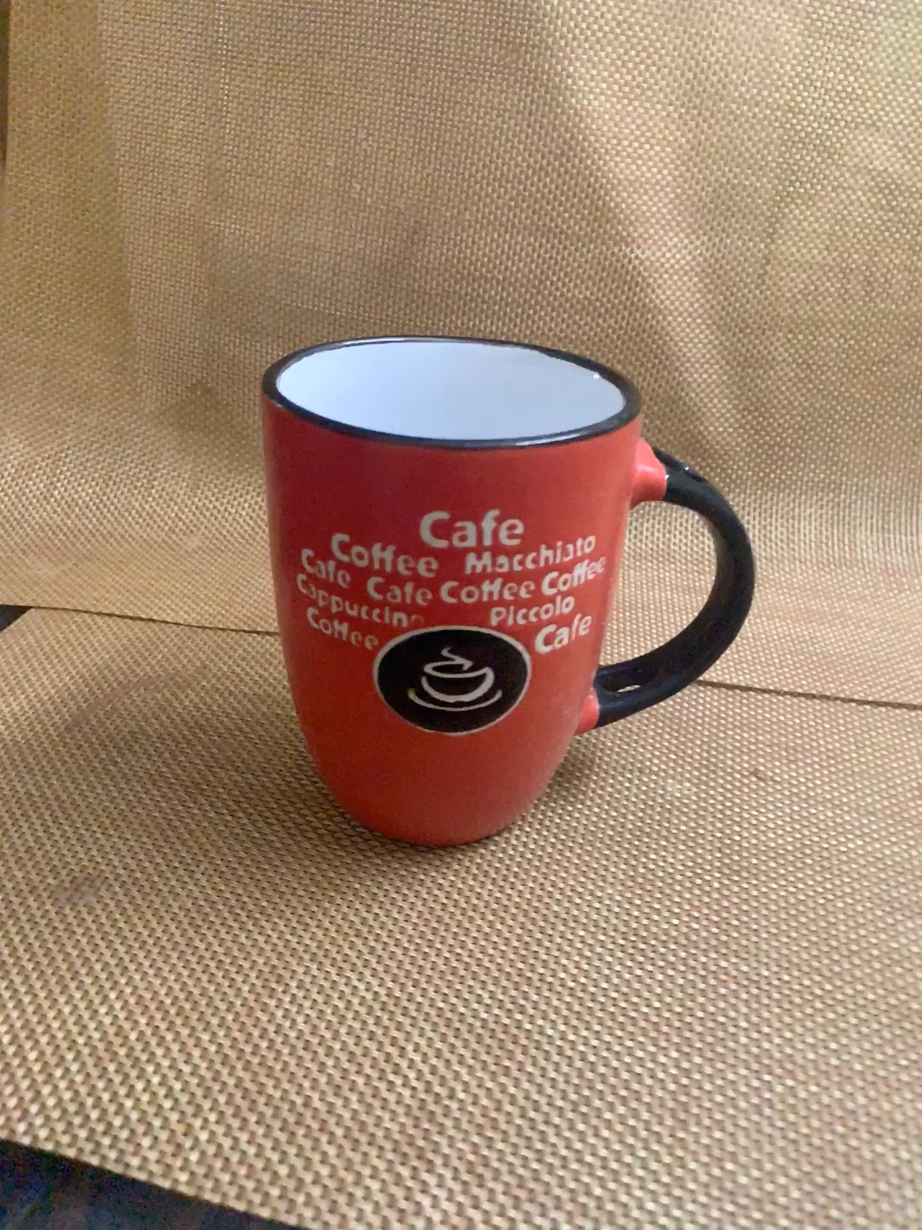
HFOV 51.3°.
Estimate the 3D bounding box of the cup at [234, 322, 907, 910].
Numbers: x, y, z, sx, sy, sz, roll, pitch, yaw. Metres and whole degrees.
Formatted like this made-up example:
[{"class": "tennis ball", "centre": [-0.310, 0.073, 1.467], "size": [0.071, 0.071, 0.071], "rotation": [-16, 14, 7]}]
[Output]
[{"class": "cup", "centre": [0.012, -0.008, 0.227], "size": [0.120, 0.099, 0.091], "rotation": [-4, 30, -13]}]
